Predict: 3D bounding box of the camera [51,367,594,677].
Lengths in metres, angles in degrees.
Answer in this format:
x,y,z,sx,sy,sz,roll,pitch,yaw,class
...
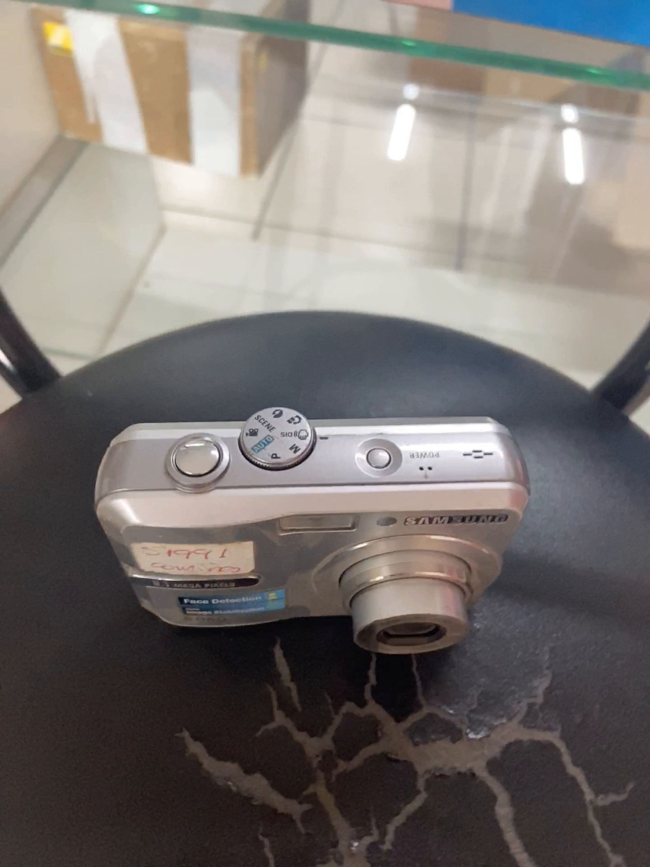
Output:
x,y,z,sx,sy,sz,roll,pitch,yaw,class
-0.001,0.024,0.165,0.100,0.060,0.050,1,54,-3,camera
